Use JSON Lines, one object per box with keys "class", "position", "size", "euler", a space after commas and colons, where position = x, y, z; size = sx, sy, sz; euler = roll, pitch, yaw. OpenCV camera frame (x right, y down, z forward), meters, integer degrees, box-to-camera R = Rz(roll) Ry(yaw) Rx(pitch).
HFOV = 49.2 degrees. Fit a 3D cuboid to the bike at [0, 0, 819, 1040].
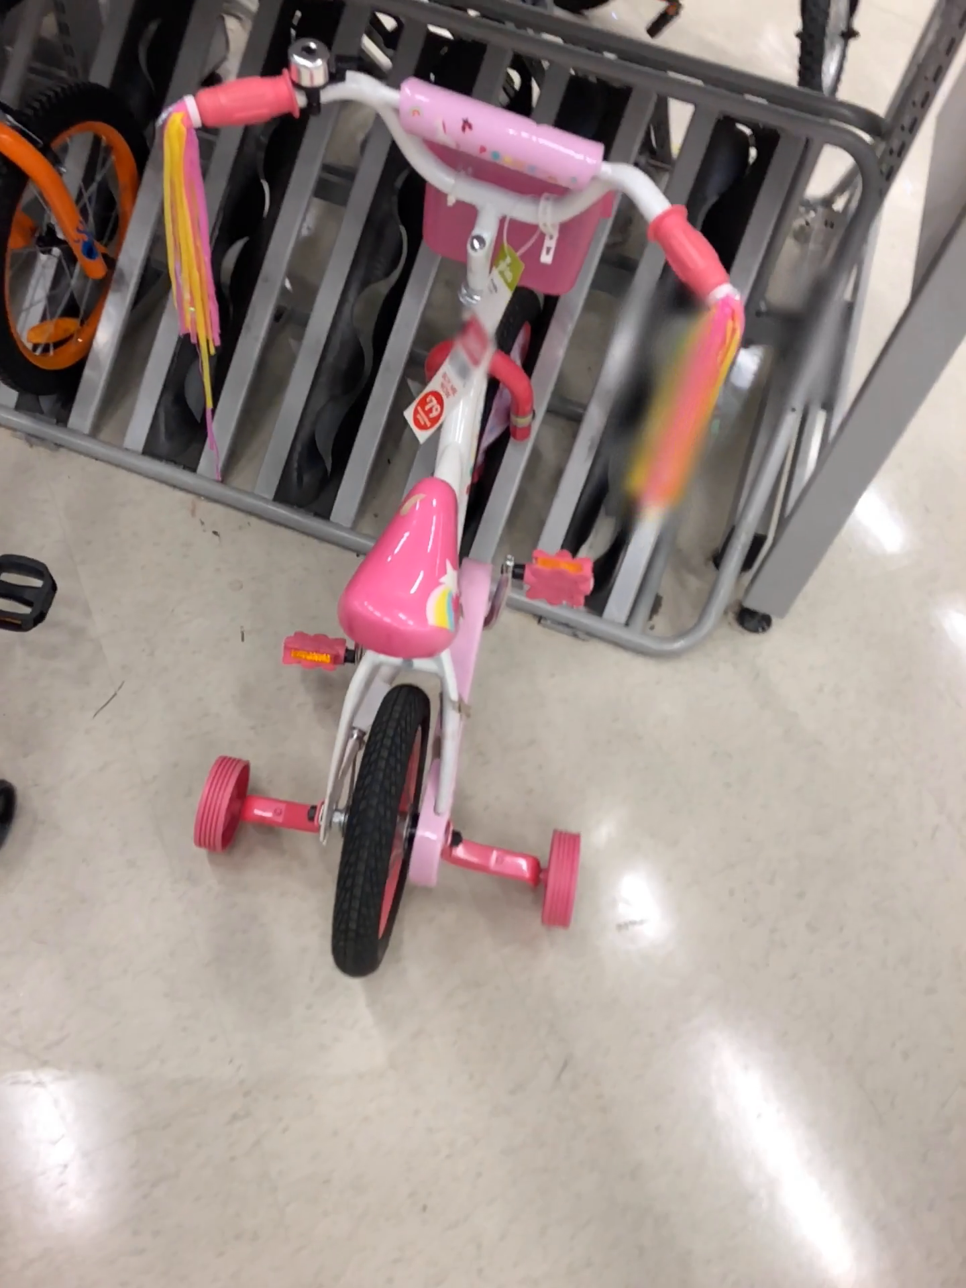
{"class": "bike", "position": [-0.025, -0.202, 1.070], "size": [0.515, 0.592, 0.946], "euler": [12, 57, 0]}
